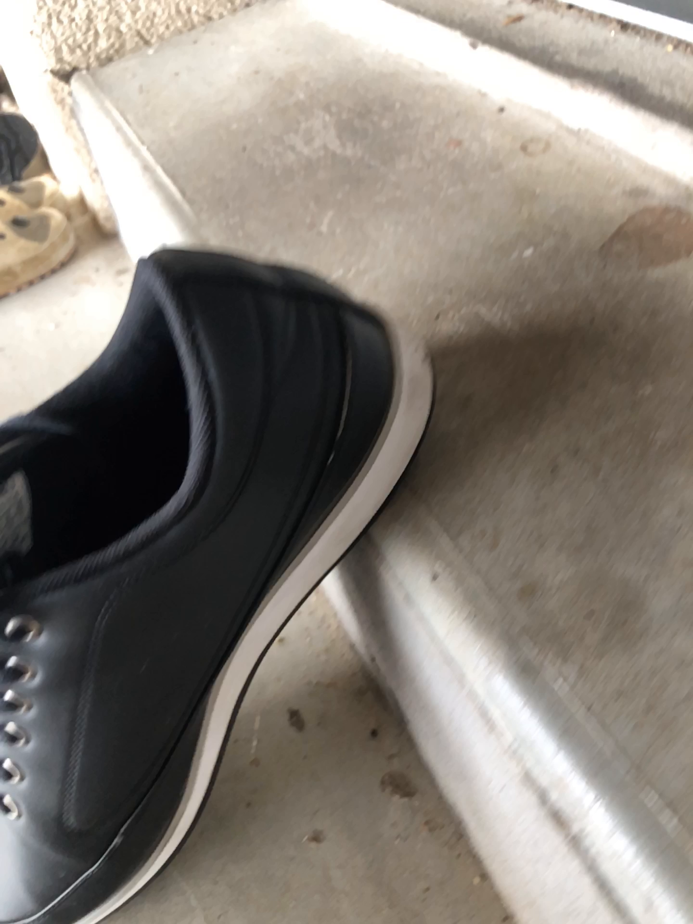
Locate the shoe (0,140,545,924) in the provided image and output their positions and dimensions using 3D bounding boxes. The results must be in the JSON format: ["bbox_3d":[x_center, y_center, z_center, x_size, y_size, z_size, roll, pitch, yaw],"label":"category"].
[{"bbox_3d":[-0.086,0.058,0.273,0.289,0.090,0.130,-54,45,16],"label":"shoe"}]
